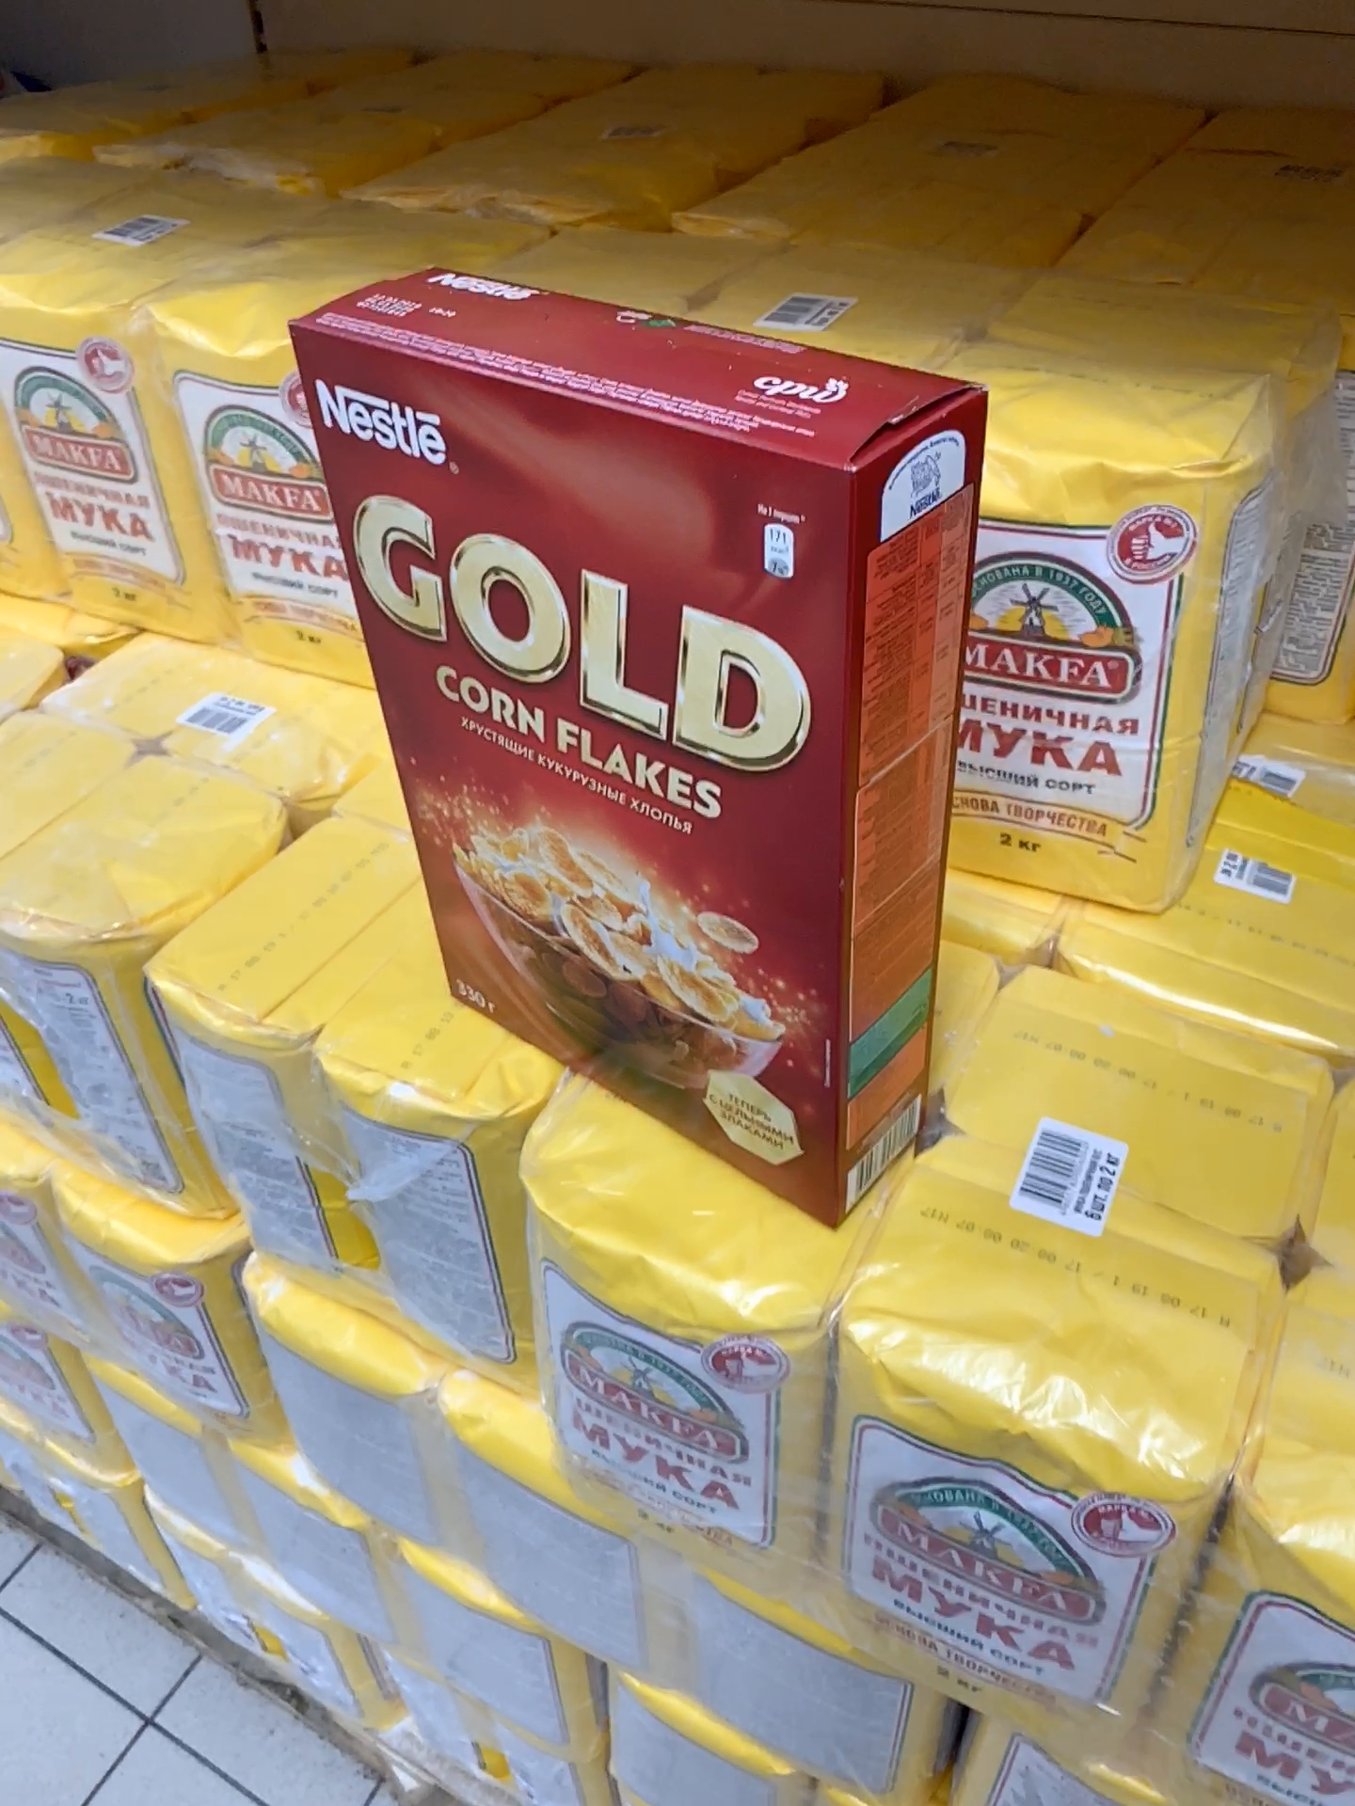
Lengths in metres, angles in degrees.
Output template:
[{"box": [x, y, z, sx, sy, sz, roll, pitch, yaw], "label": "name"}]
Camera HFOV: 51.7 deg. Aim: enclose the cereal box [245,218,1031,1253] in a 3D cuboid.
[{"box": [-0.013, -0.047, 0.461, 0.211, 0.287, 0.070, 27, 50, 30], "label": "cereal box"}]
